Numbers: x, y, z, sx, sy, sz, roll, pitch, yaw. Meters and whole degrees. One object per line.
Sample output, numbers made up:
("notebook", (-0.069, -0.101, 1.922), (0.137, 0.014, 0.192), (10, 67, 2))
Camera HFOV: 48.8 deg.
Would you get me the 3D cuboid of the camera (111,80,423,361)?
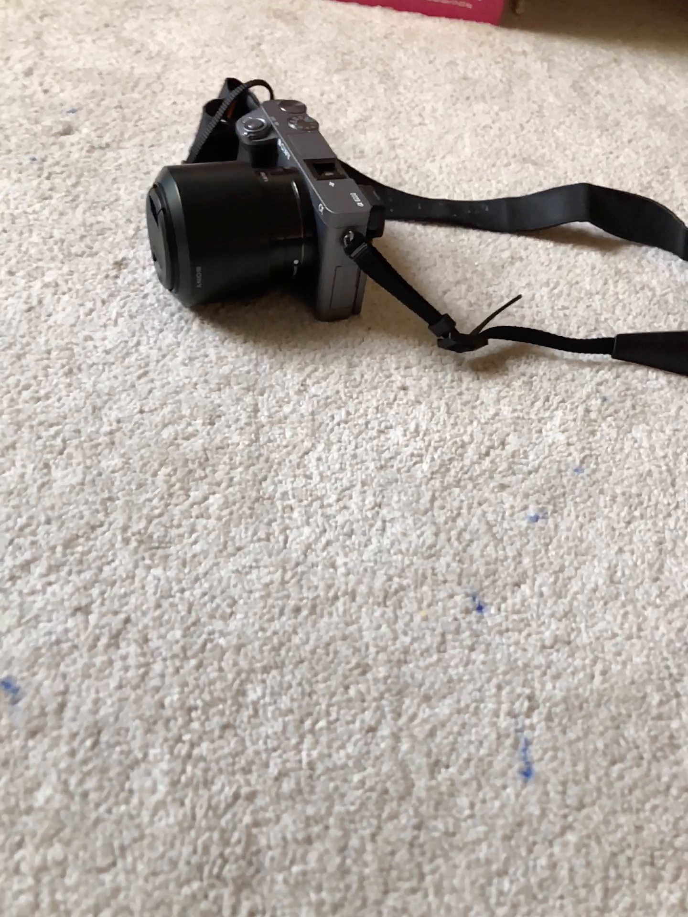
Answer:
("camera", (-0.048, -0.133, 0.407), (0.120, 0.080, 0.131), (-12, 51, -21))
